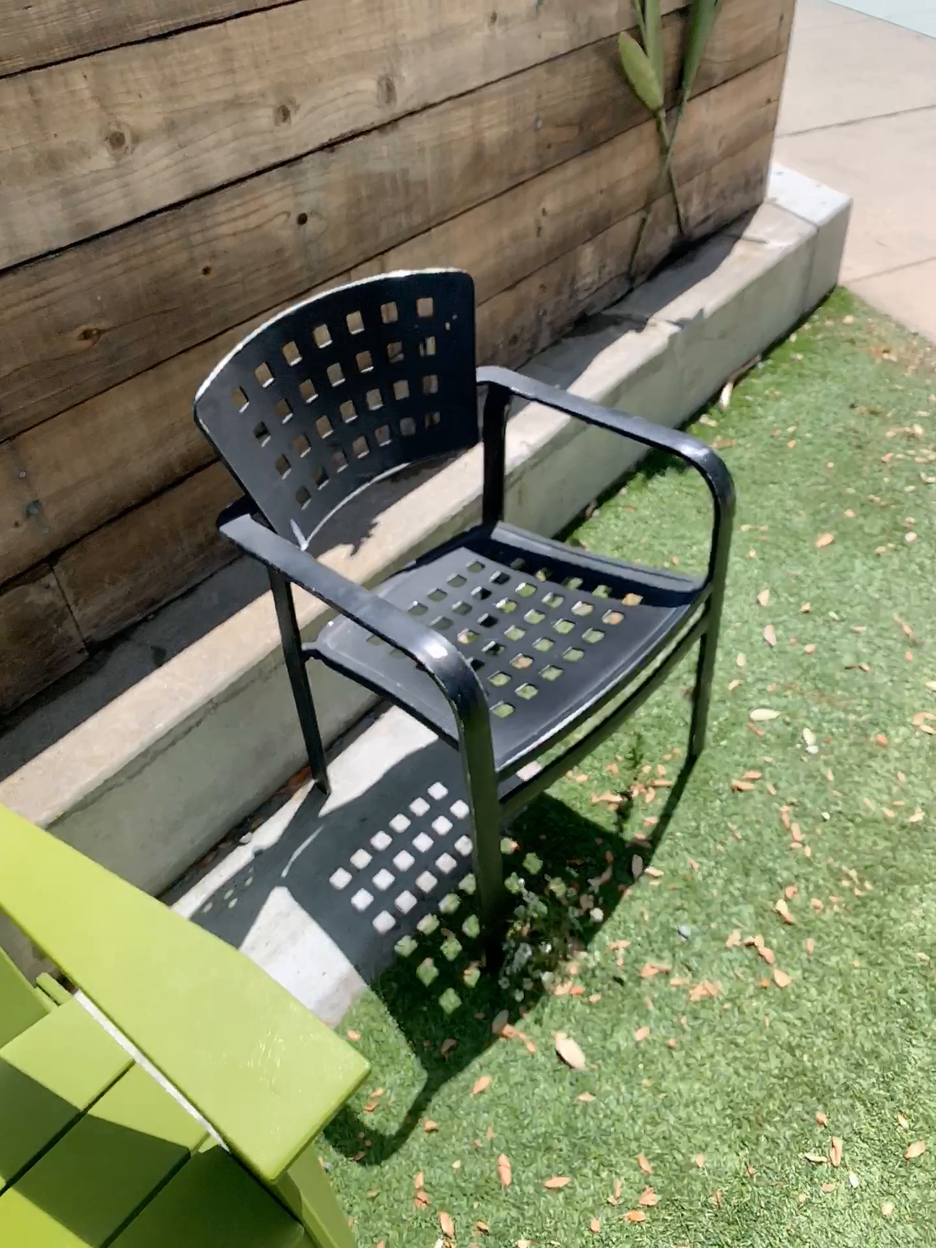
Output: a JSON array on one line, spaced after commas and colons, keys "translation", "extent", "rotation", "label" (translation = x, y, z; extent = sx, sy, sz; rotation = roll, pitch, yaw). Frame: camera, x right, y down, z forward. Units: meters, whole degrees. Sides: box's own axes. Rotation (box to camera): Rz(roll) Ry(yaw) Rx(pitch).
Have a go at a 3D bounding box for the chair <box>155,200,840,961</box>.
[{"translation": [0.054, -0.080, 1.345], "extent": [0.522, 0.716, 0.591], "rotation": [31, 52, 31], "label": "chair"}]
